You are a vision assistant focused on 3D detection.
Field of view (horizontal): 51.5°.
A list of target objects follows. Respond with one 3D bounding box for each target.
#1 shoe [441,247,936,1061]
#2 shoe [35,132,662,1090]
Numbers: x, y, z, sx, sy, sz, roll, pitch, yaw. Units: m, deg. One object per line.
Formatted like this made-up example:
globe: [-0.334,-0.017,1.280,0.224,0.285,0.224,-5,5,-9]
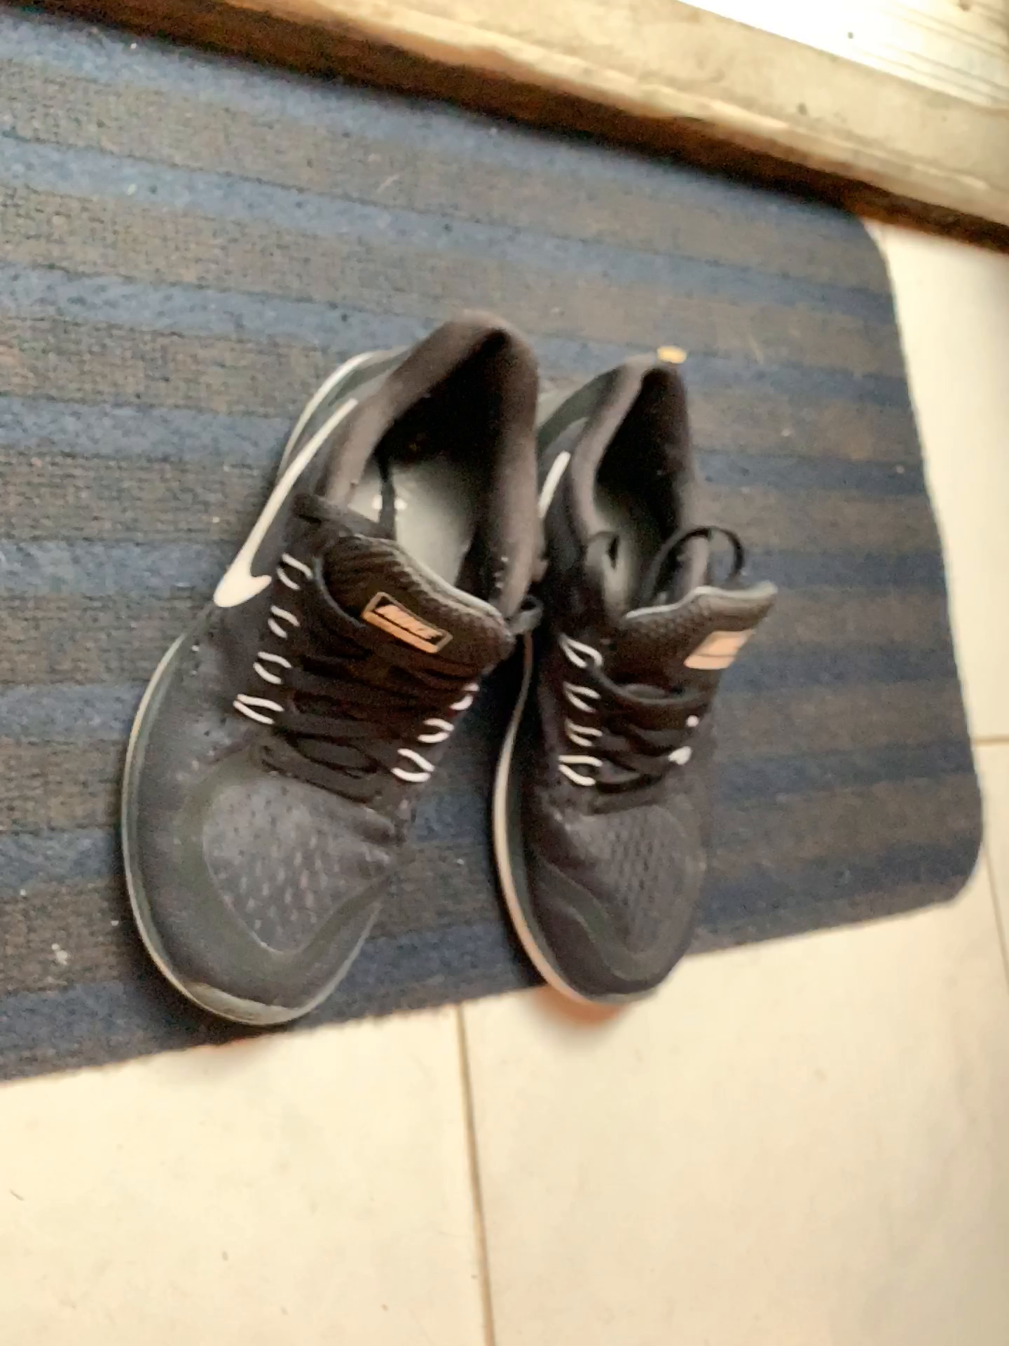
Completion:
shoe: [0.057,-0.002,0.389,0.107,0.119,0.248,1,78,-27]
shoe: [-0.048,-0.015,0.337,0.105,0.119,0.248,22,70,-22]
